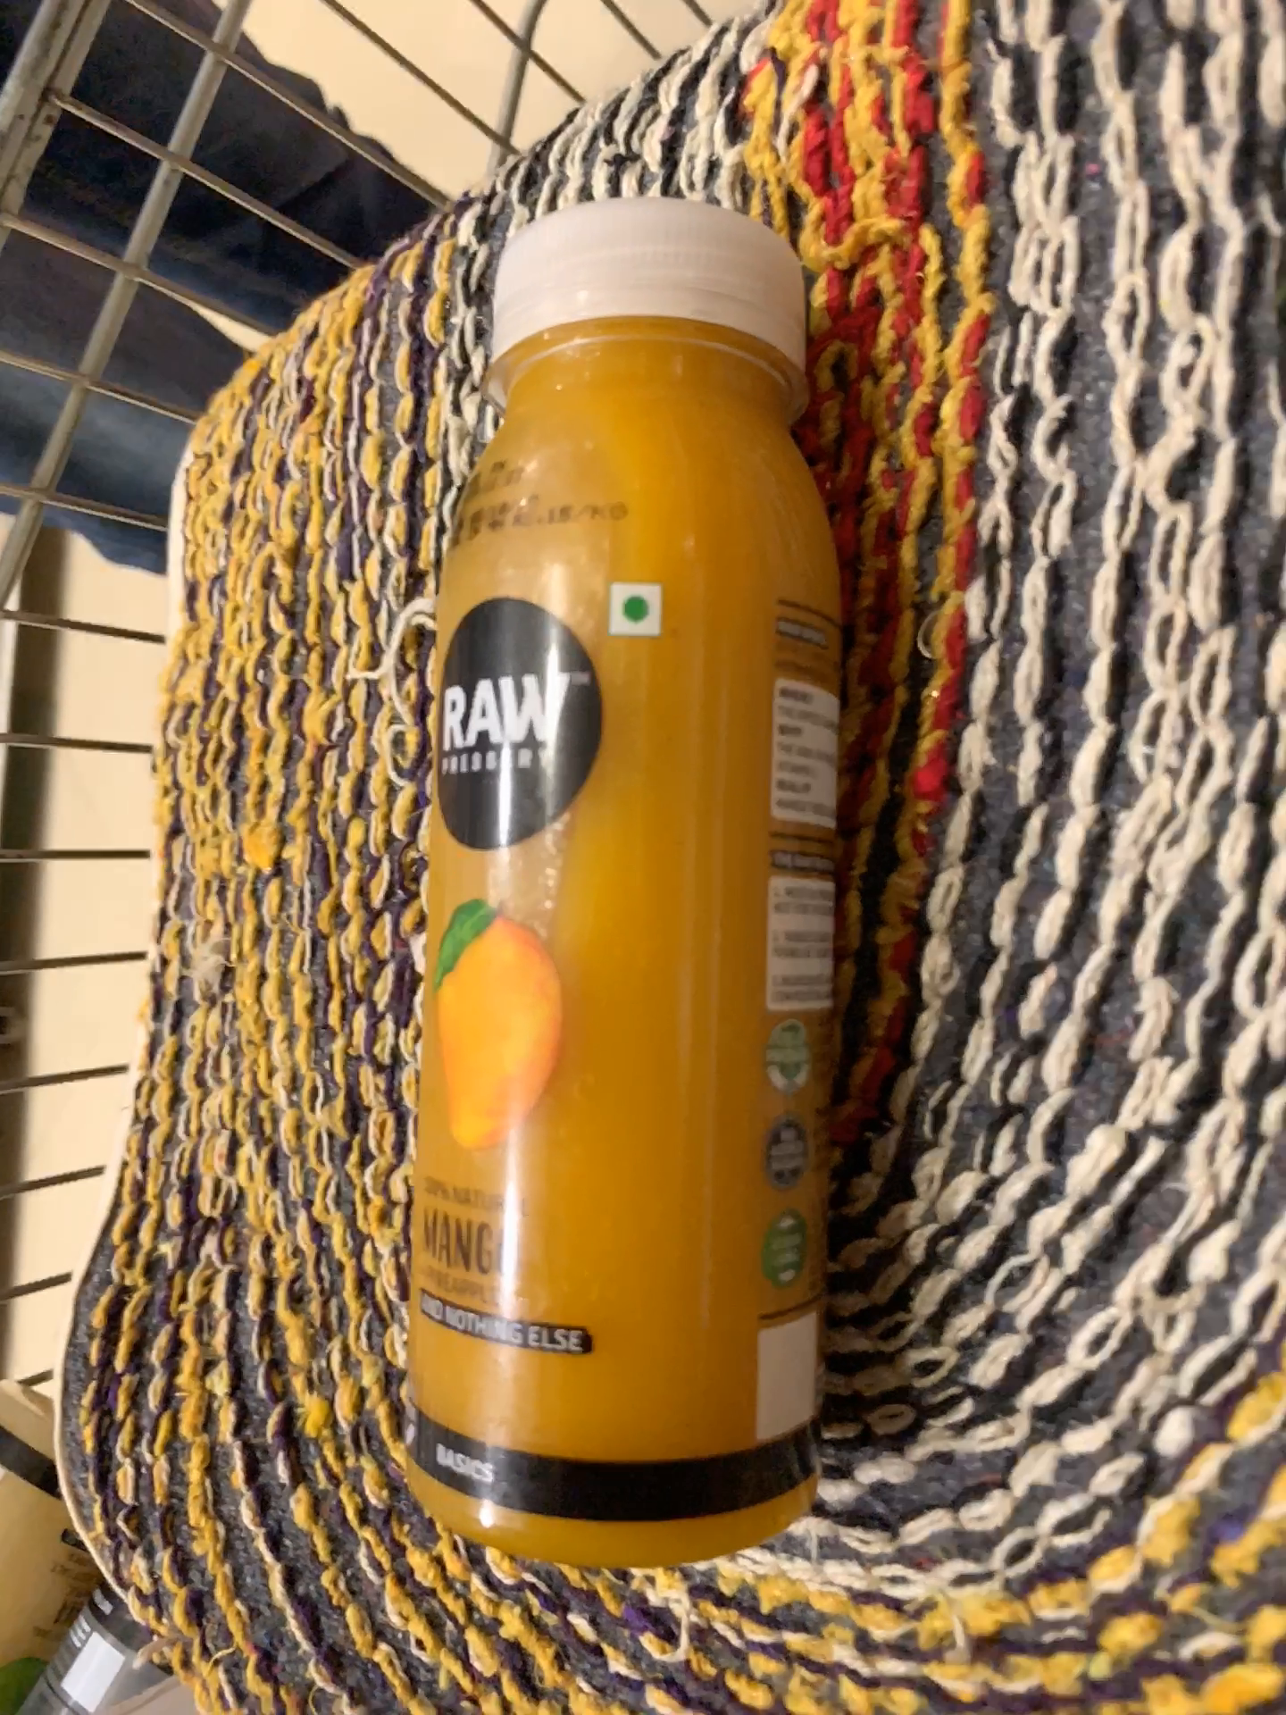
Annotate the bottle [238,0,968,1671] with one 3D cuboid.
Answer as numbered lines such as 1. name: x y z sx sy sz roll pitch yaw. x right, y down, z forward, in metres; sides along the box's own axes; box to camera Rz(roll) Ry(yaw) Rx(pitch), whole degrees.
1. bottle: -0.004 -0.007 0.167 0.060 0.050 0.170 0 83 42
